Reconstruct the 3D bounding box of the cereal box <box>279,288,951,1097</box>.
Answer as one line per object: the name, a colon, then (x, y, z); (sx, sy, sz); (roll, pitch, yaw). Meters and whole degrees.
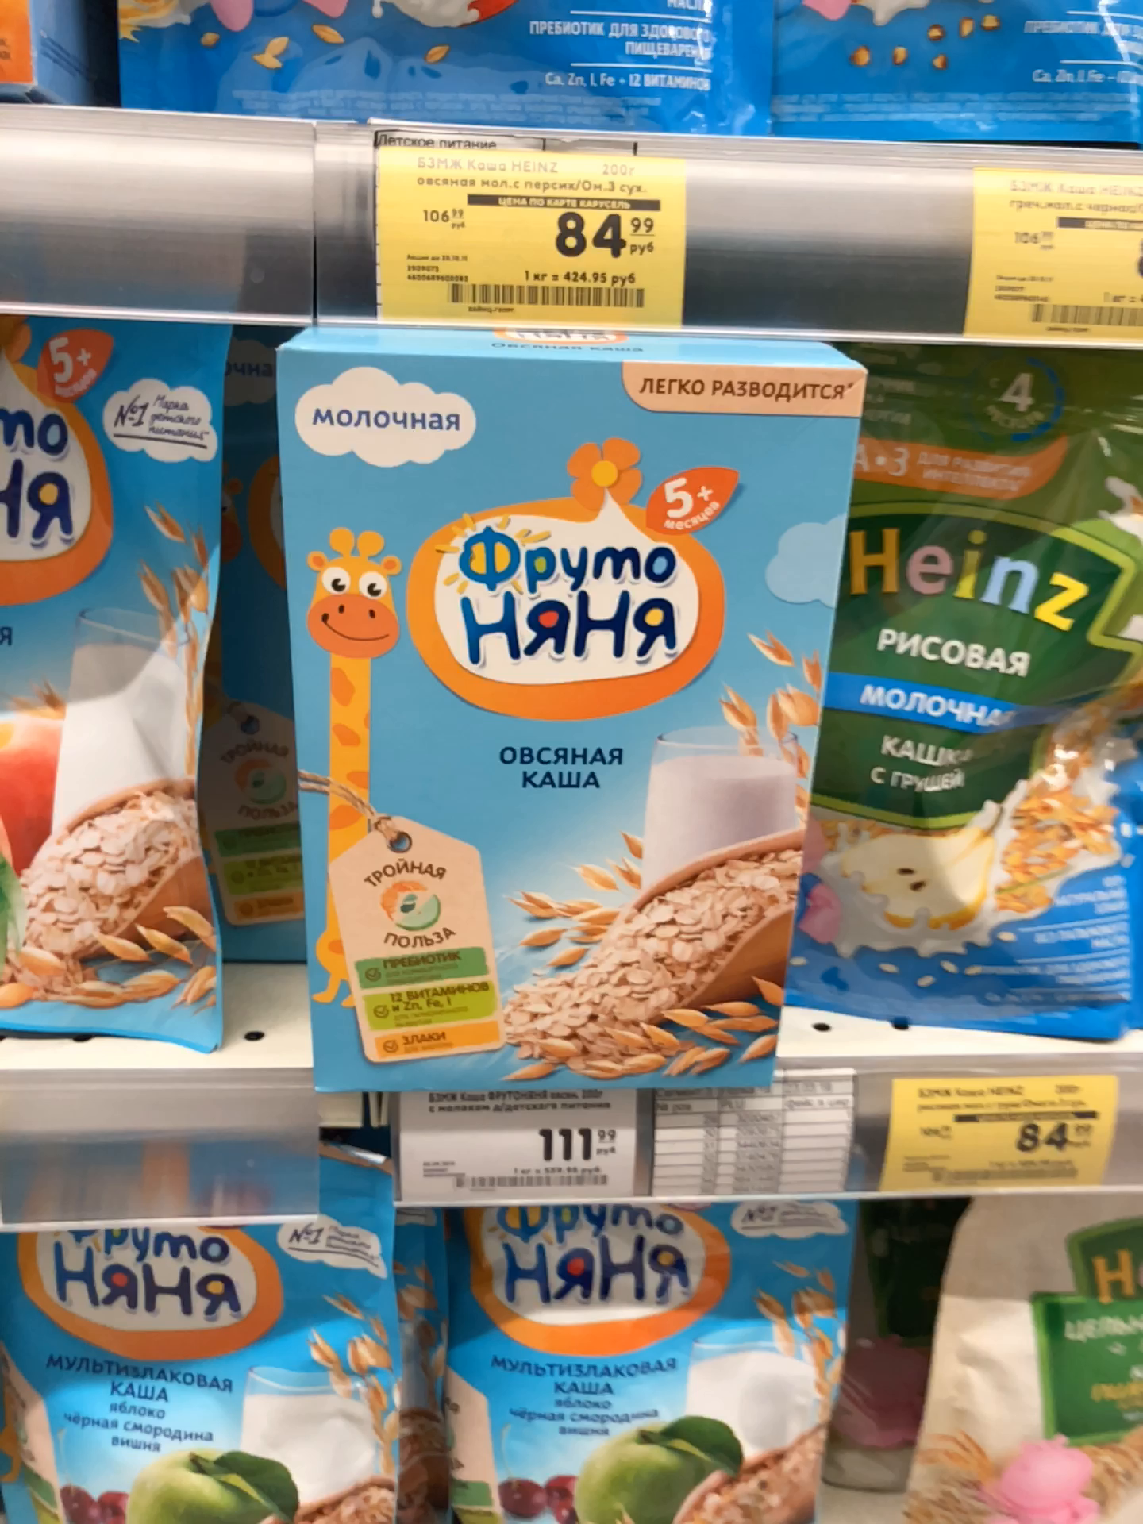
cereal box: (0.005, -0.011, 0.327); (0.140, 0.199, 0.050); (0, 24, -5)
